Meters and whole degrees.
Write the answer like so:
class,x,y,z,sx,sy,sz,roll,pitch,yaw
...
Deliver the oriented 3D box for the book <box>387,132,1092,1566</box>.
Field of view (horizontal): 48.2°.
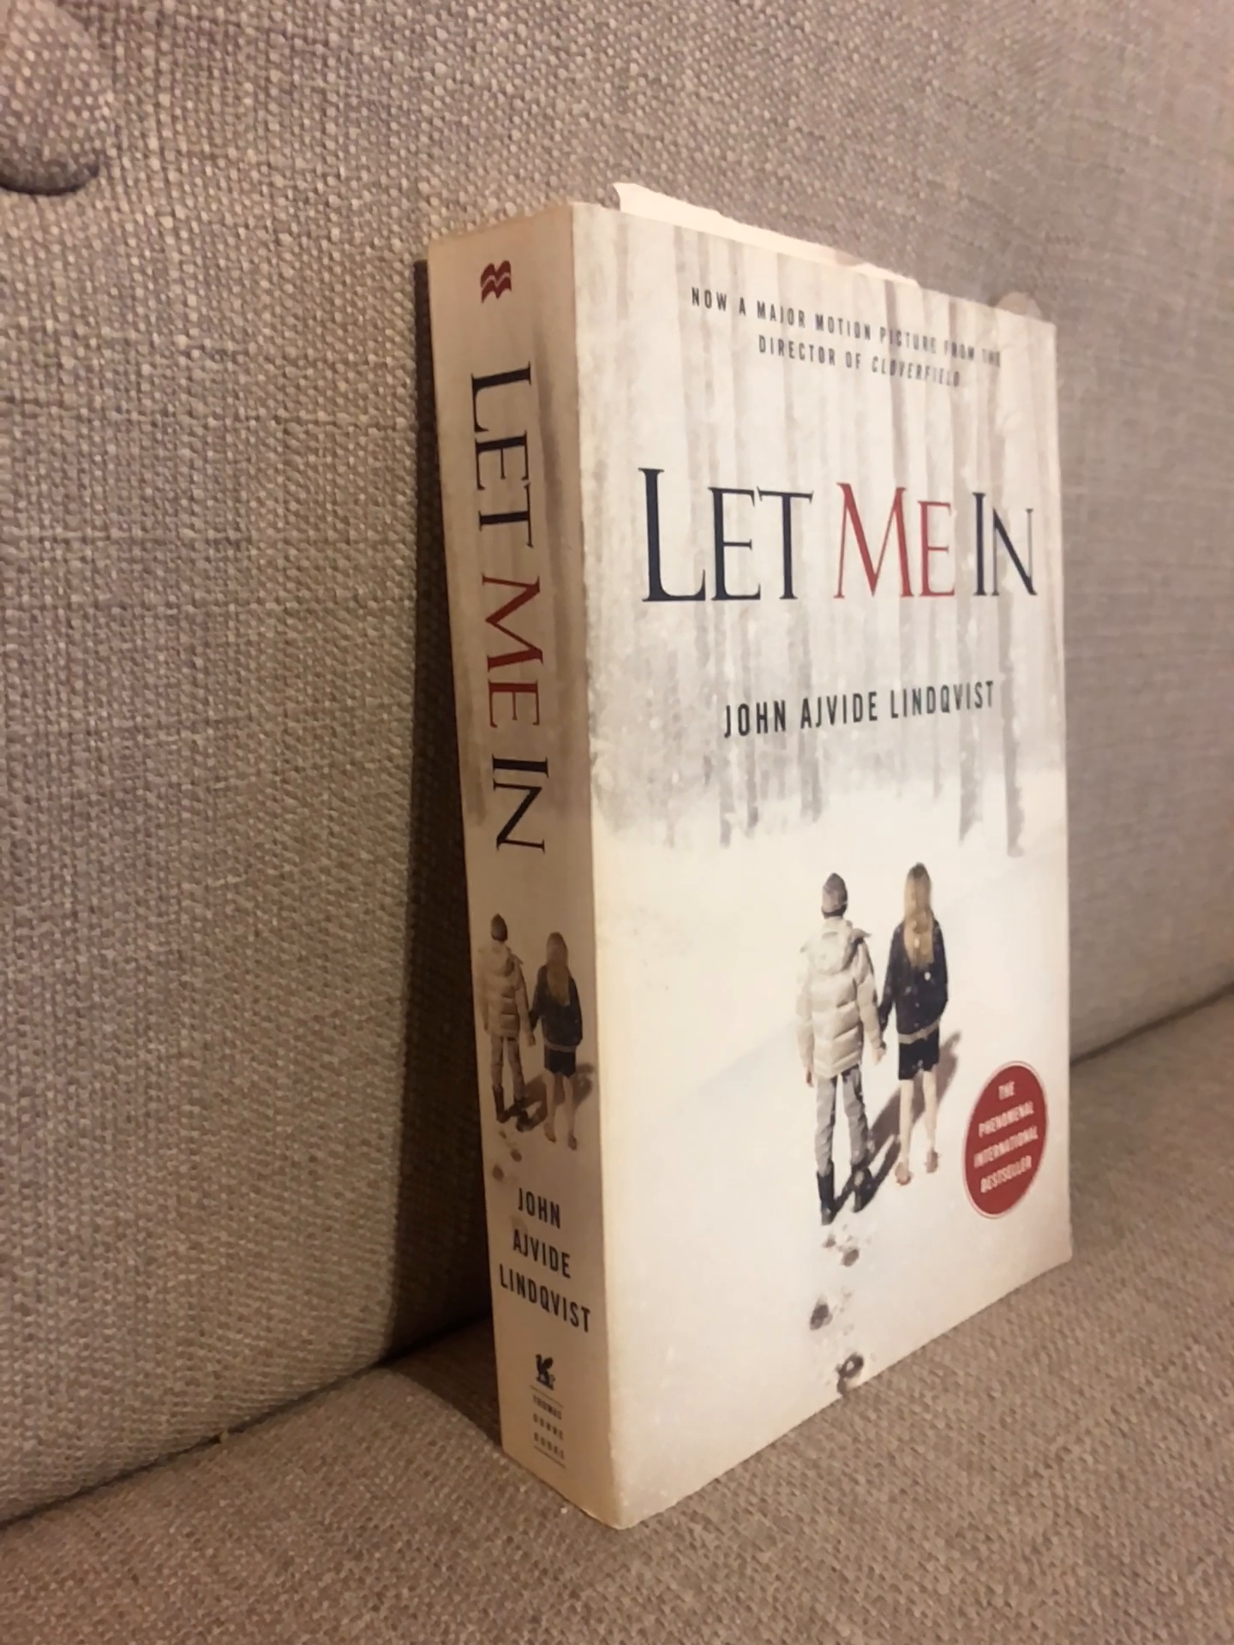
class,x,y,z,sx,sy,sz,roll,pitch,yaw
book,0.035,0.000,0.272,0.147,0.216,0.043,-7,7,-42
